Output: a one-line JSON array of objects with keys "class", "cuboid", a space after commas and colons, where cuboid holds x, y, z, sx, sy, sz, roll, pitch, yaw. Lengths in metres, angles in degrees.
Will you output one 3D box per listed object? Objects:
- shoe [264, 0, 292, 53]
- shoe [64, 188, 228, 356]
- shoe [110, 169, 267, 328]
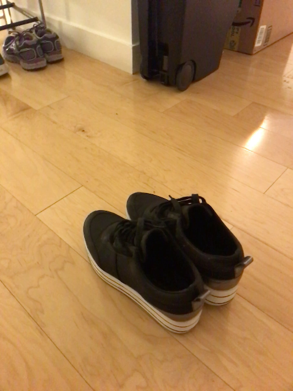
[{"class": "shoe", "cuboid": [3.324, -3.796, 6.906, 1.000, 0.993, 1.007, 1, 43, 1]}, {"class": "shoe", "cuboid": [-0.011, 0.108, 0.510, 0.100, 0.099, 0.251, -33, 52, -31]}, {"class": "shoe", "cuboid": [0.056, 0.076, 0.549, 0.110, 0.099, 0.251, -29, 50, -28]}]
